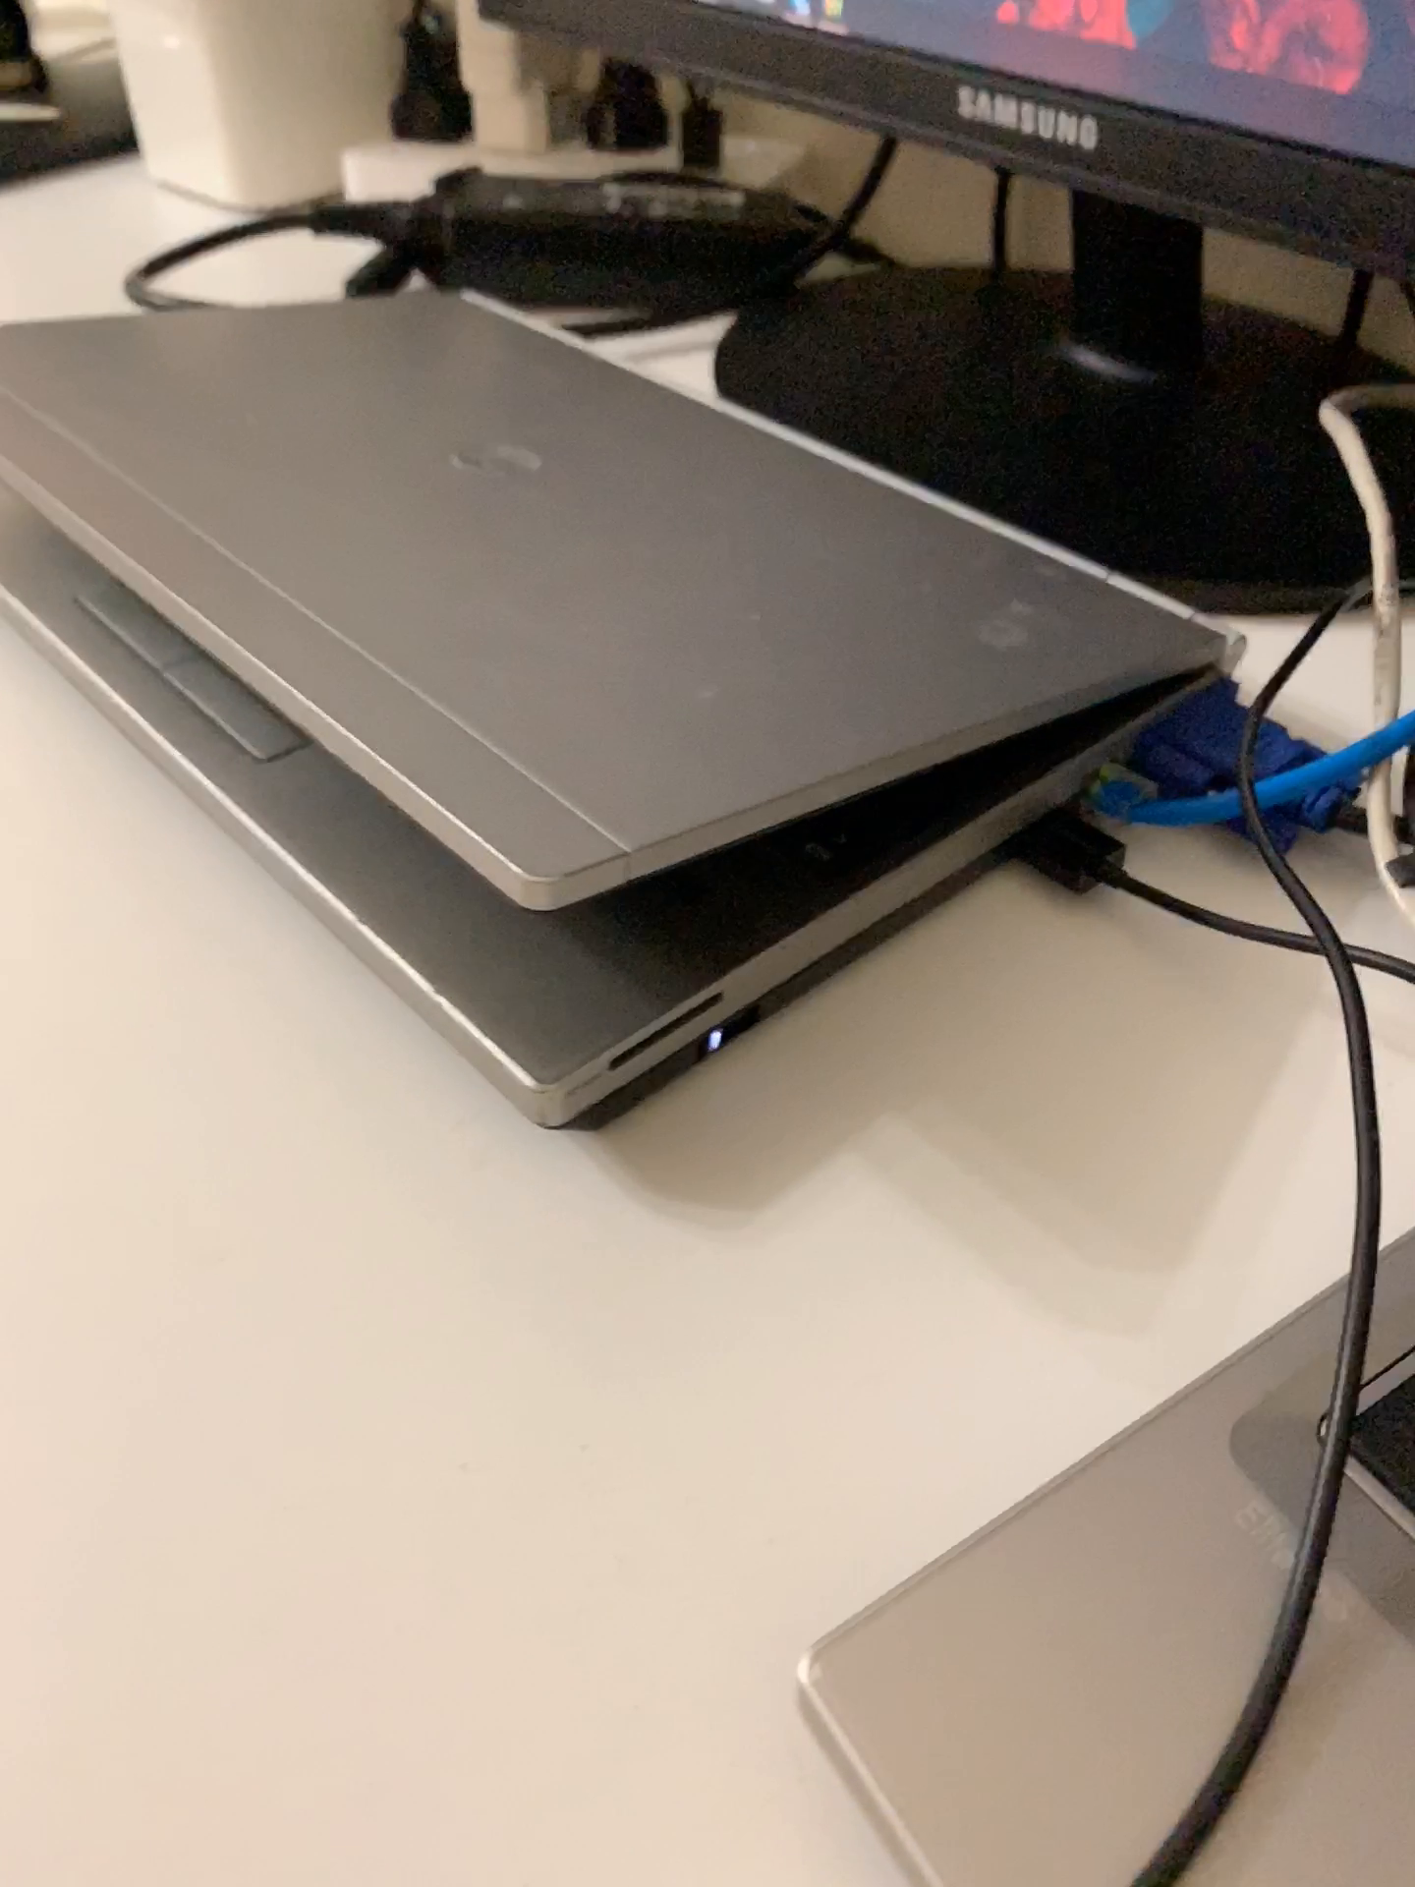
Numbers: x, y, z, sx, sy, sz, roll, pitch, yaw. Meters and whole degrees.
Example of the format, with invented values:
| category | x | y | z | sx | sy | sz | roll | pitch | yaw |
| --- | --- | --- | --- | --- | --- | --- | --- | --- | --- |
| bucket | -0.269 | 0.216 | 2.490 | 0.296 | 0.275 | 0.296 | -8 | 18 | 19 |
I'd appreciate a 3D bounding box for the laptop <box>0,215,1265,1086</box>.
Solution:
| category | x | y | z | sx | sy | sz | roll | pitch | yaw |
| --- | --- | --- | --- | --- | --- | --- | --- | --- | --- |
| laptop | -0.050 | -0.105 | 0.353 | 0.183 | 0.029 | 0.294 | -31 | 49 | -27 |
